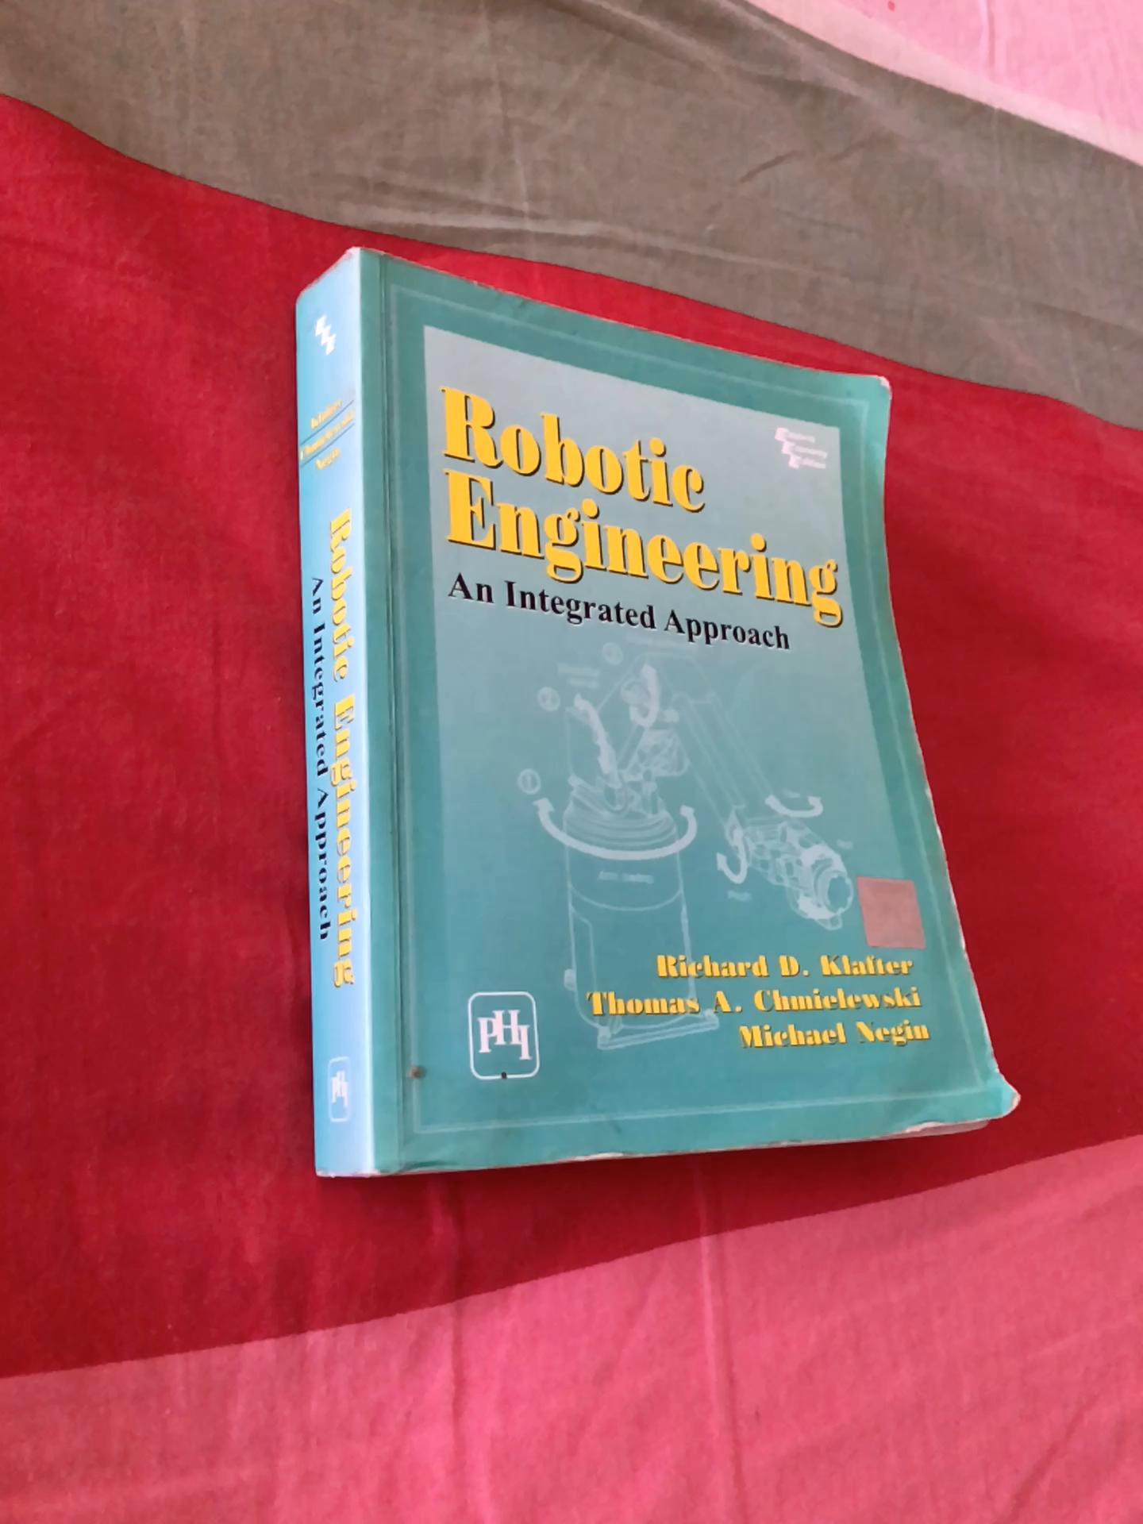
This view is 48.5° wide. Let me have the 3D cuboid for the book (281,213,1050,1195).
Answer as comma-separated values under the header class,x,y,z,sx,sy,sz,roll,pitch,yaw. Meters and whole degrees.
class,x,y,z,sx,sy,sz,roll,pitch,yaw
book,0.021,-0.011,0.309,0.172,0.043,0.205,5,70,-30
